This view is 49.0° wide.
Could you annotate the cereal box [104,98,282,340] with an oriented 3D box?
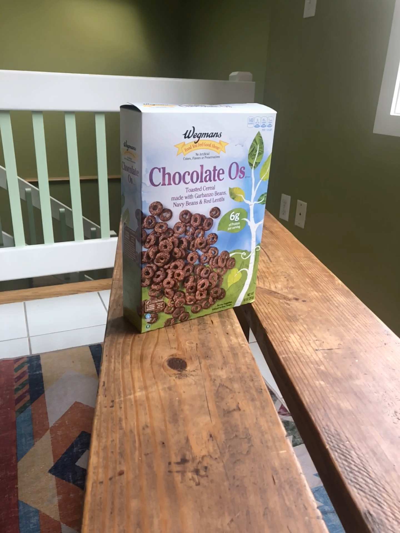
[{"bbox_3d":[-0.009,-0.066,0.570,0.211,0.278,0.060,-12,27,-32],"label":"cereal box"}]
